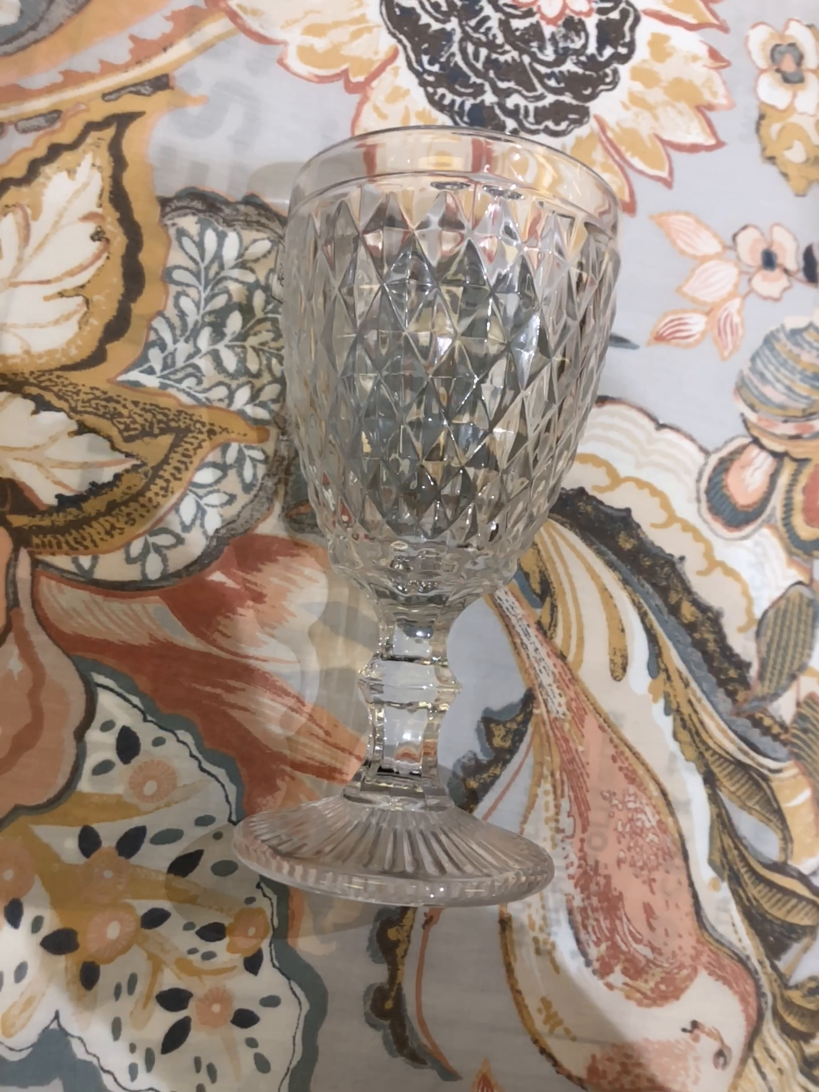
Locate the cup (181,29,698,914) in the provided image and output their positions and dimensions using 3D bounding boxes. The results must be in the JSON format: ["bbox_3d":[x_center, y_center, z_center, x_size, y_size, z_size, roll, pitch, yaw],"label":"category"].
[{"bbox_3d":[0.004,-0.011,0.223,0.090,0.080,0.170,8,80,-16],"label":"cup"}]
